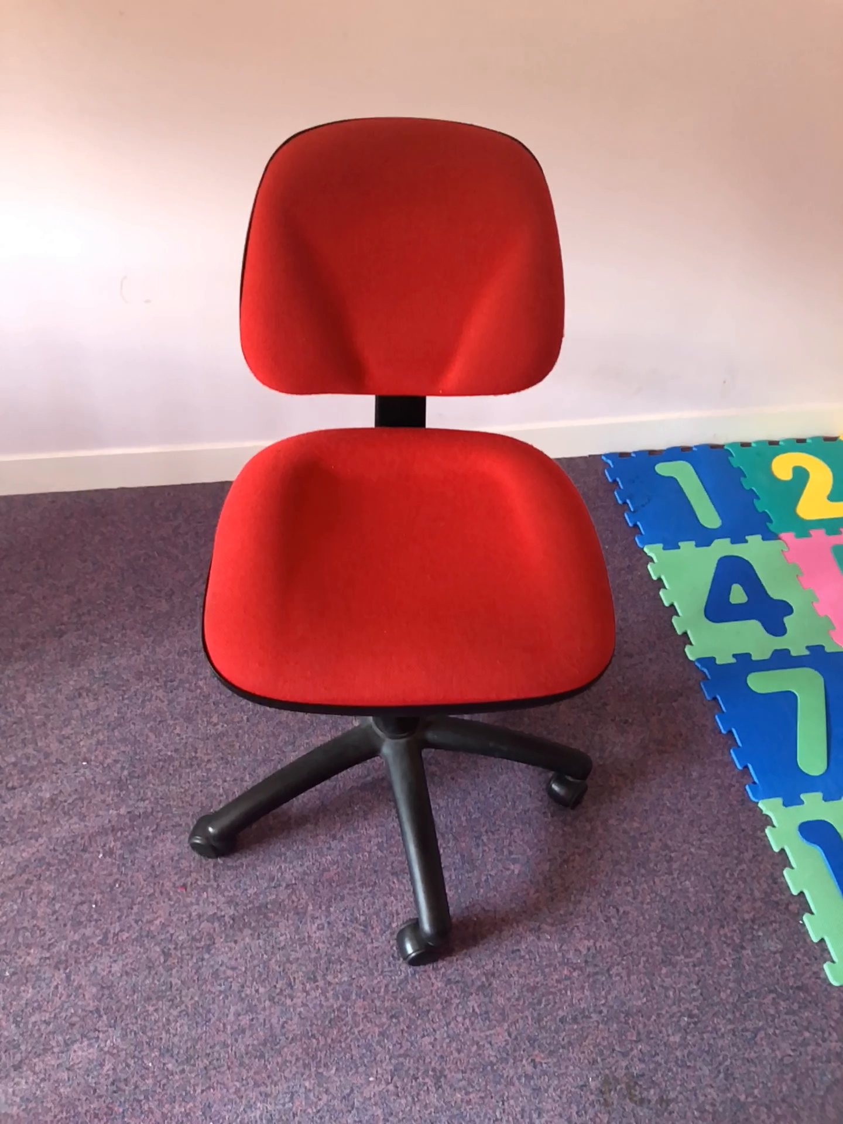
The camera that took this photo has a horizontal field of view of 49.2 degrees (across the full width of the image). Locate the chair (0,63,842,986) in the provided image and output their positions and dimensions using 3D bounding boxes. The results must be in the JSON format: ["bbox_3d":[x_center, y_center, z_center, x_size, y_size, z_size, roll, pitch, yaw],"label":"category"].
[{"bbox_3d":[-0.003,0.007,1.135,0.640,0.895,0.674,0,47,-5],"label":"chair"}]
